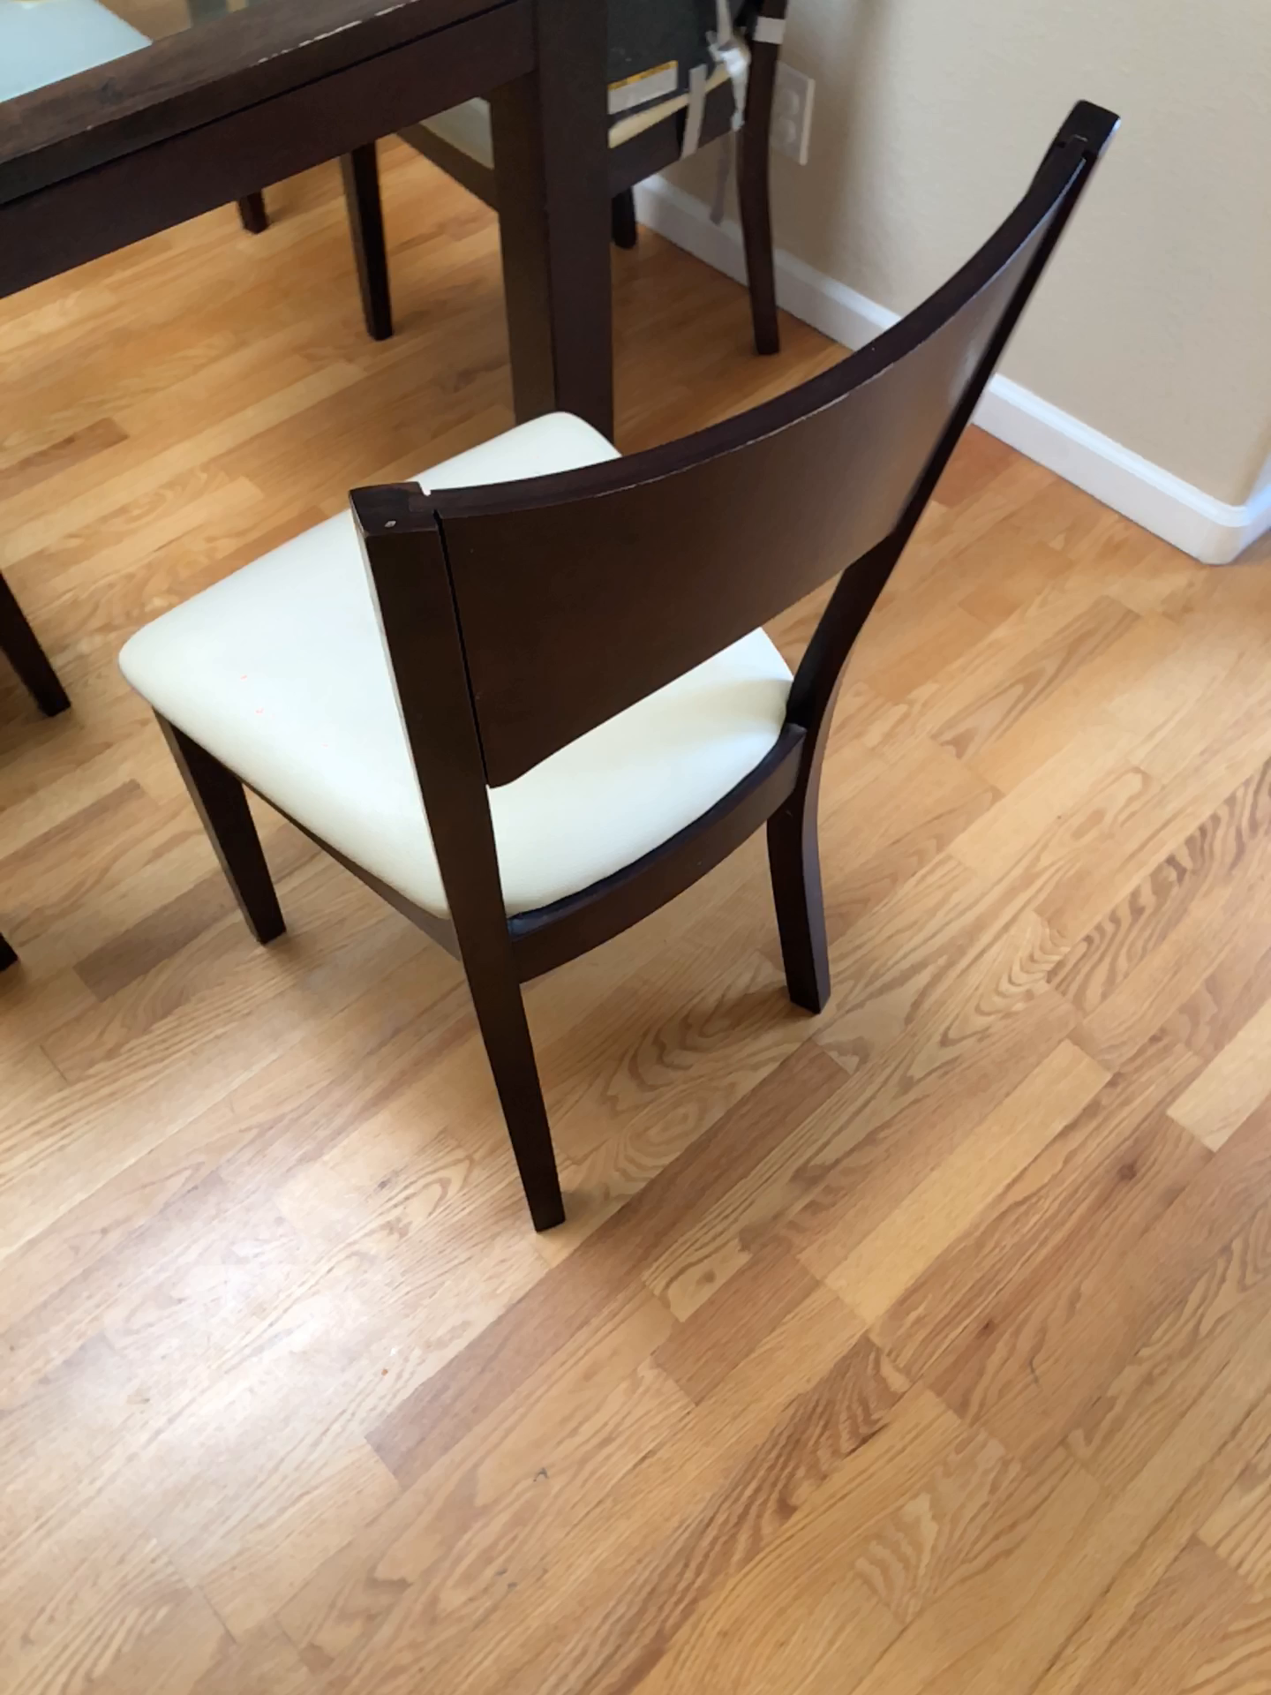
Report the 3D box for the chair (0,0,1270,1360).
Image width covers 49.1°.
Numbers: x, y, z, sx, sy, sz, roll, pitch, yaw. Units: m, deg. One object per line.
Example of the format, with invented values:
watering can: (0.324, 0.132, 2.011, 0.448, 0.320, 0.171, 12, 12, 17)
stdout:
chair: (-0.035, -0.134, 1.152, 0.561, 0.996, 0.592, -33, 61, -21)
